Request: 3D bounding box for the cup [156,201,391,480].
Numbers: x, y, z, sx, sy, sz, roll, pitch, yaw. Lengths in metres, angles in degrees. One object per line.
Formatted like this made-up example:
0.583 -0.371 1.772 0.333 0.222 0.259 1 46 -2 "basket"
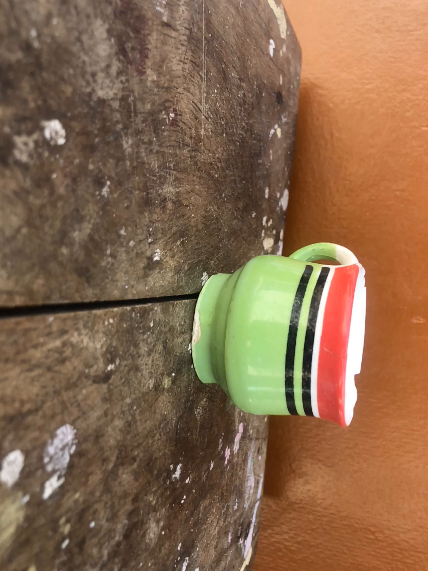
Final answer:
0.032 0.012 0.195 0.090 0.070 0.070 -53 142 -58 "cup"
